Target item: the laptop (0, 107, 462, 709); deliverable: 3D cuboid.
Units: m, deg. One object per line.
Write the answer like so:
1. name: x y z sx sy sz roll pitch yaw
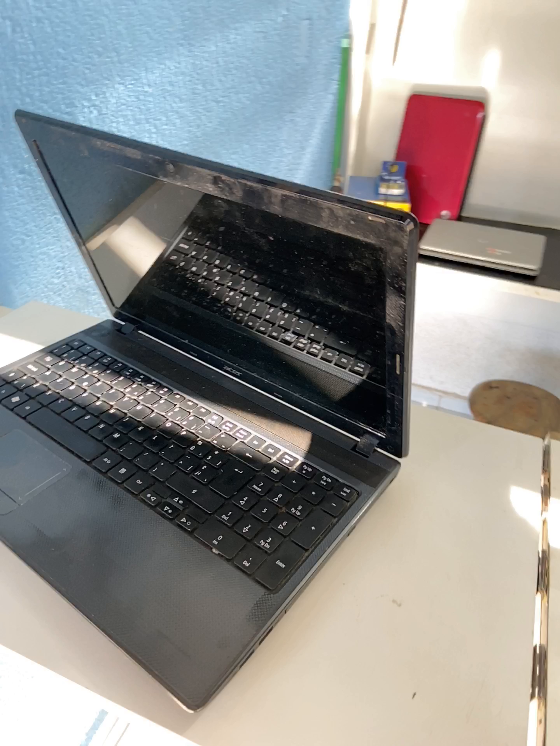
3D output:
1. laptop: -0.112 -0.033 0.434 0.374 0.234 0.254 24 39 29
